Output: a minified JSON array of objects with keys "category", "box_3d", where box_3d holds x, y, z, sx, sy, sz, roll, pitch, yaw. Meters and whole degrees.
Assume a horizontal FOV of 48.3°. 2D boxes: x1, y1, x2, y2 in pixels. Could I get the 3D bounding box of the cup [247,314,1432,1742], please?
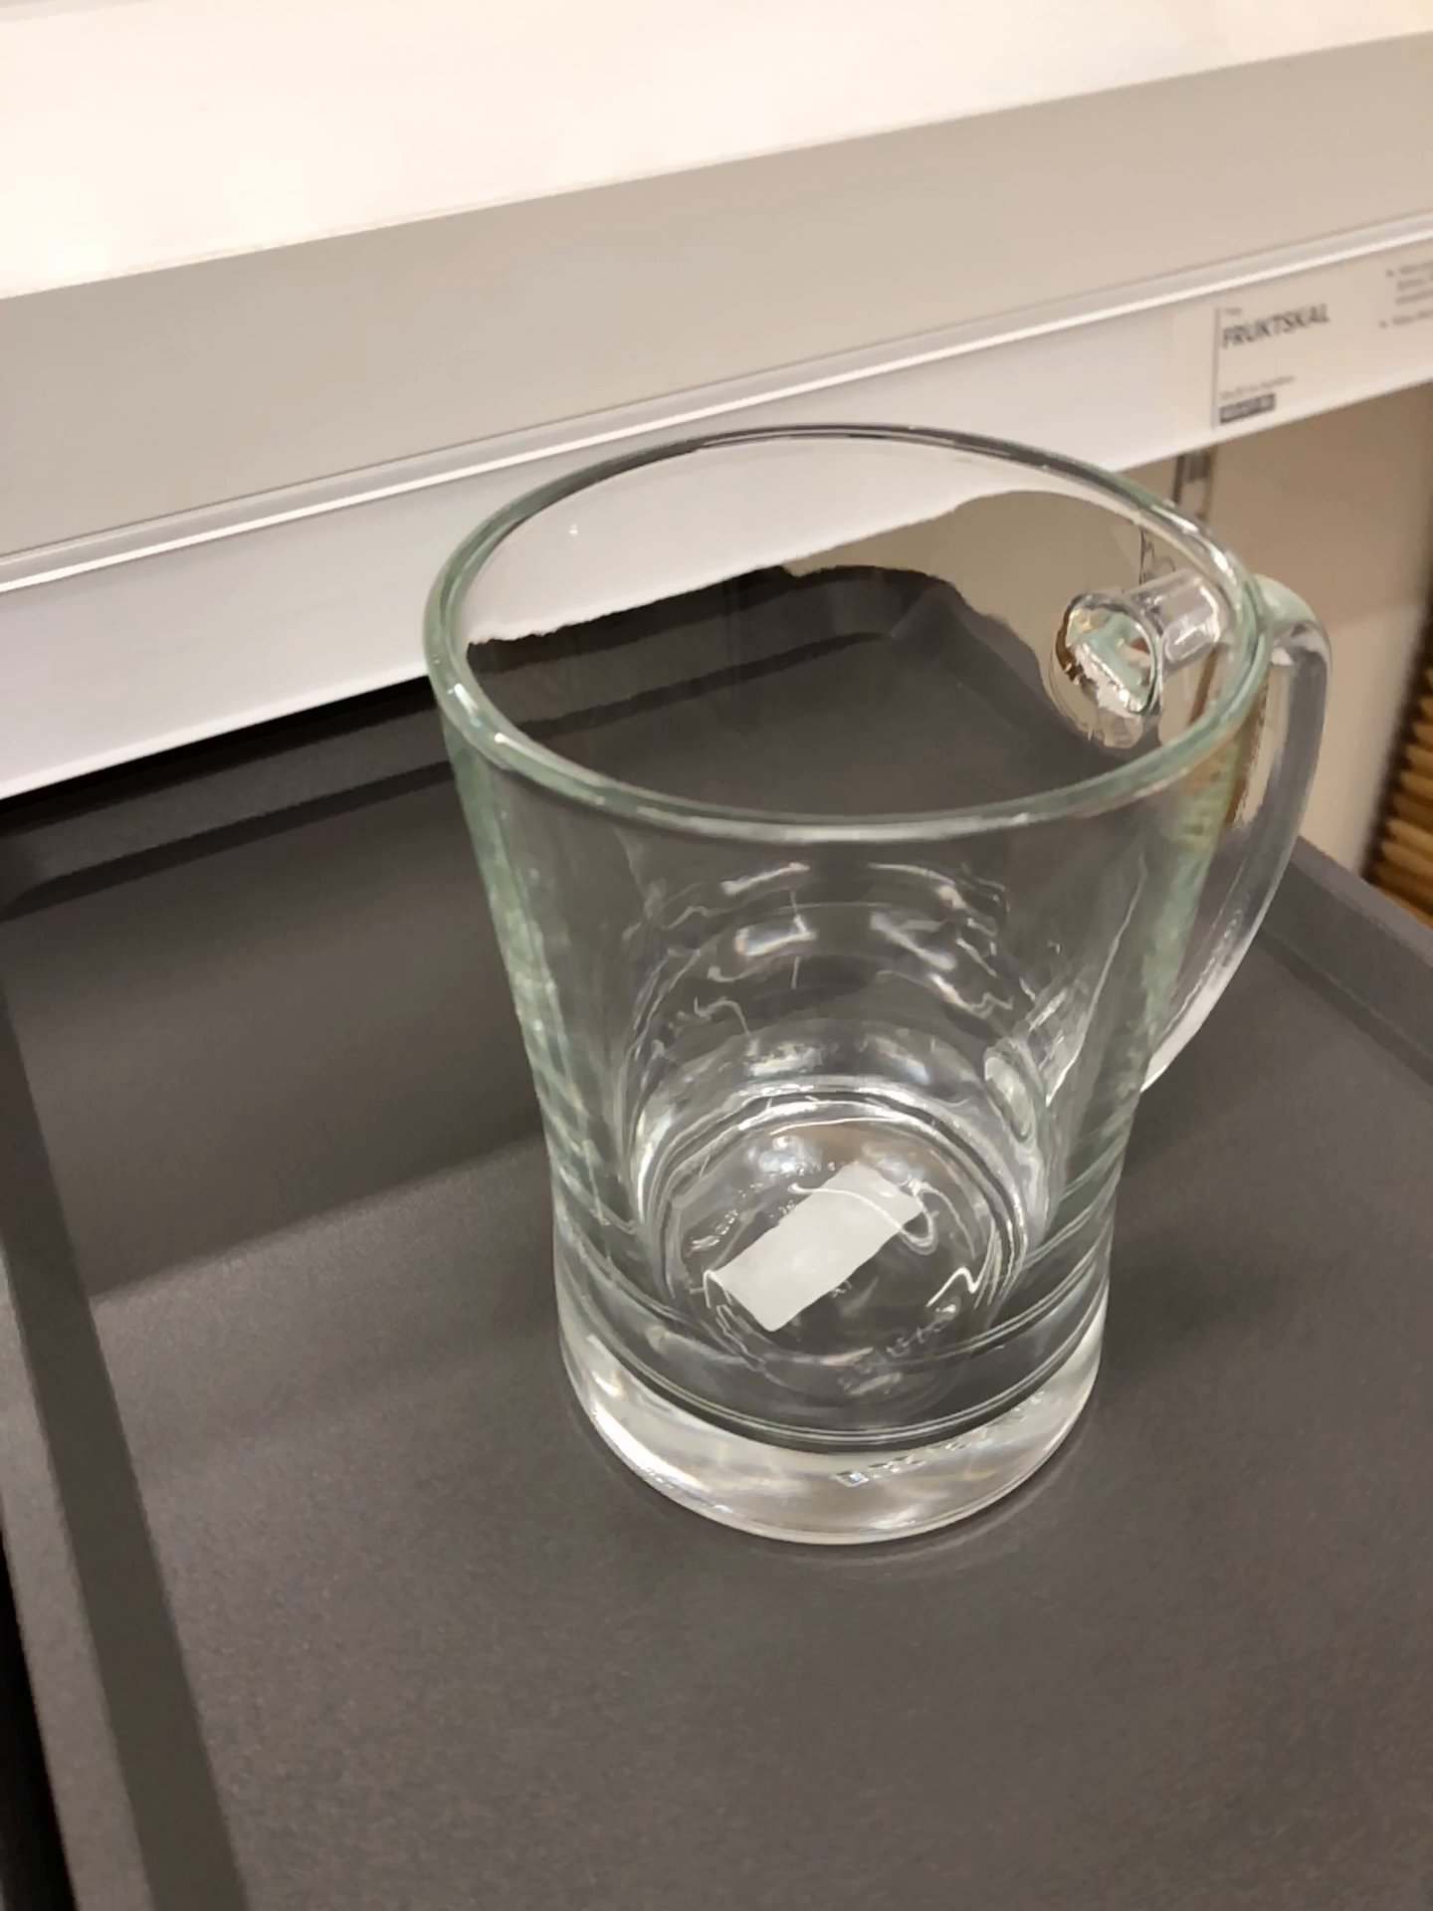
[{"category":"cup","box_3d":[0.038,-0.002,0.245,0.160,0.130,0.110,-24,44,-25]}]
